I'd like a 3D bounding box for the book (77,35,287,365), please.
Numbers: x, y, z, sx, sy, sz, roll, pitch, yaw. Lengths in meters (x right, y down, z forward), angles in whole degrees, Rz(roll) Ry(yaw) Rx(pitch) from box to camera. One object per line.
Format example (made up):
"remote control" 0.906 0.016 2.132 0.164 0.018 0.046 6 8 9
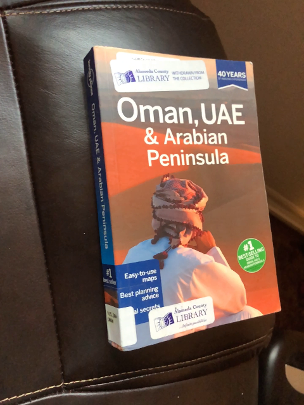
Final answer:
"book" 0.026 -0.007 0.251 0.138 0.030 0.203 -5 89 -26
